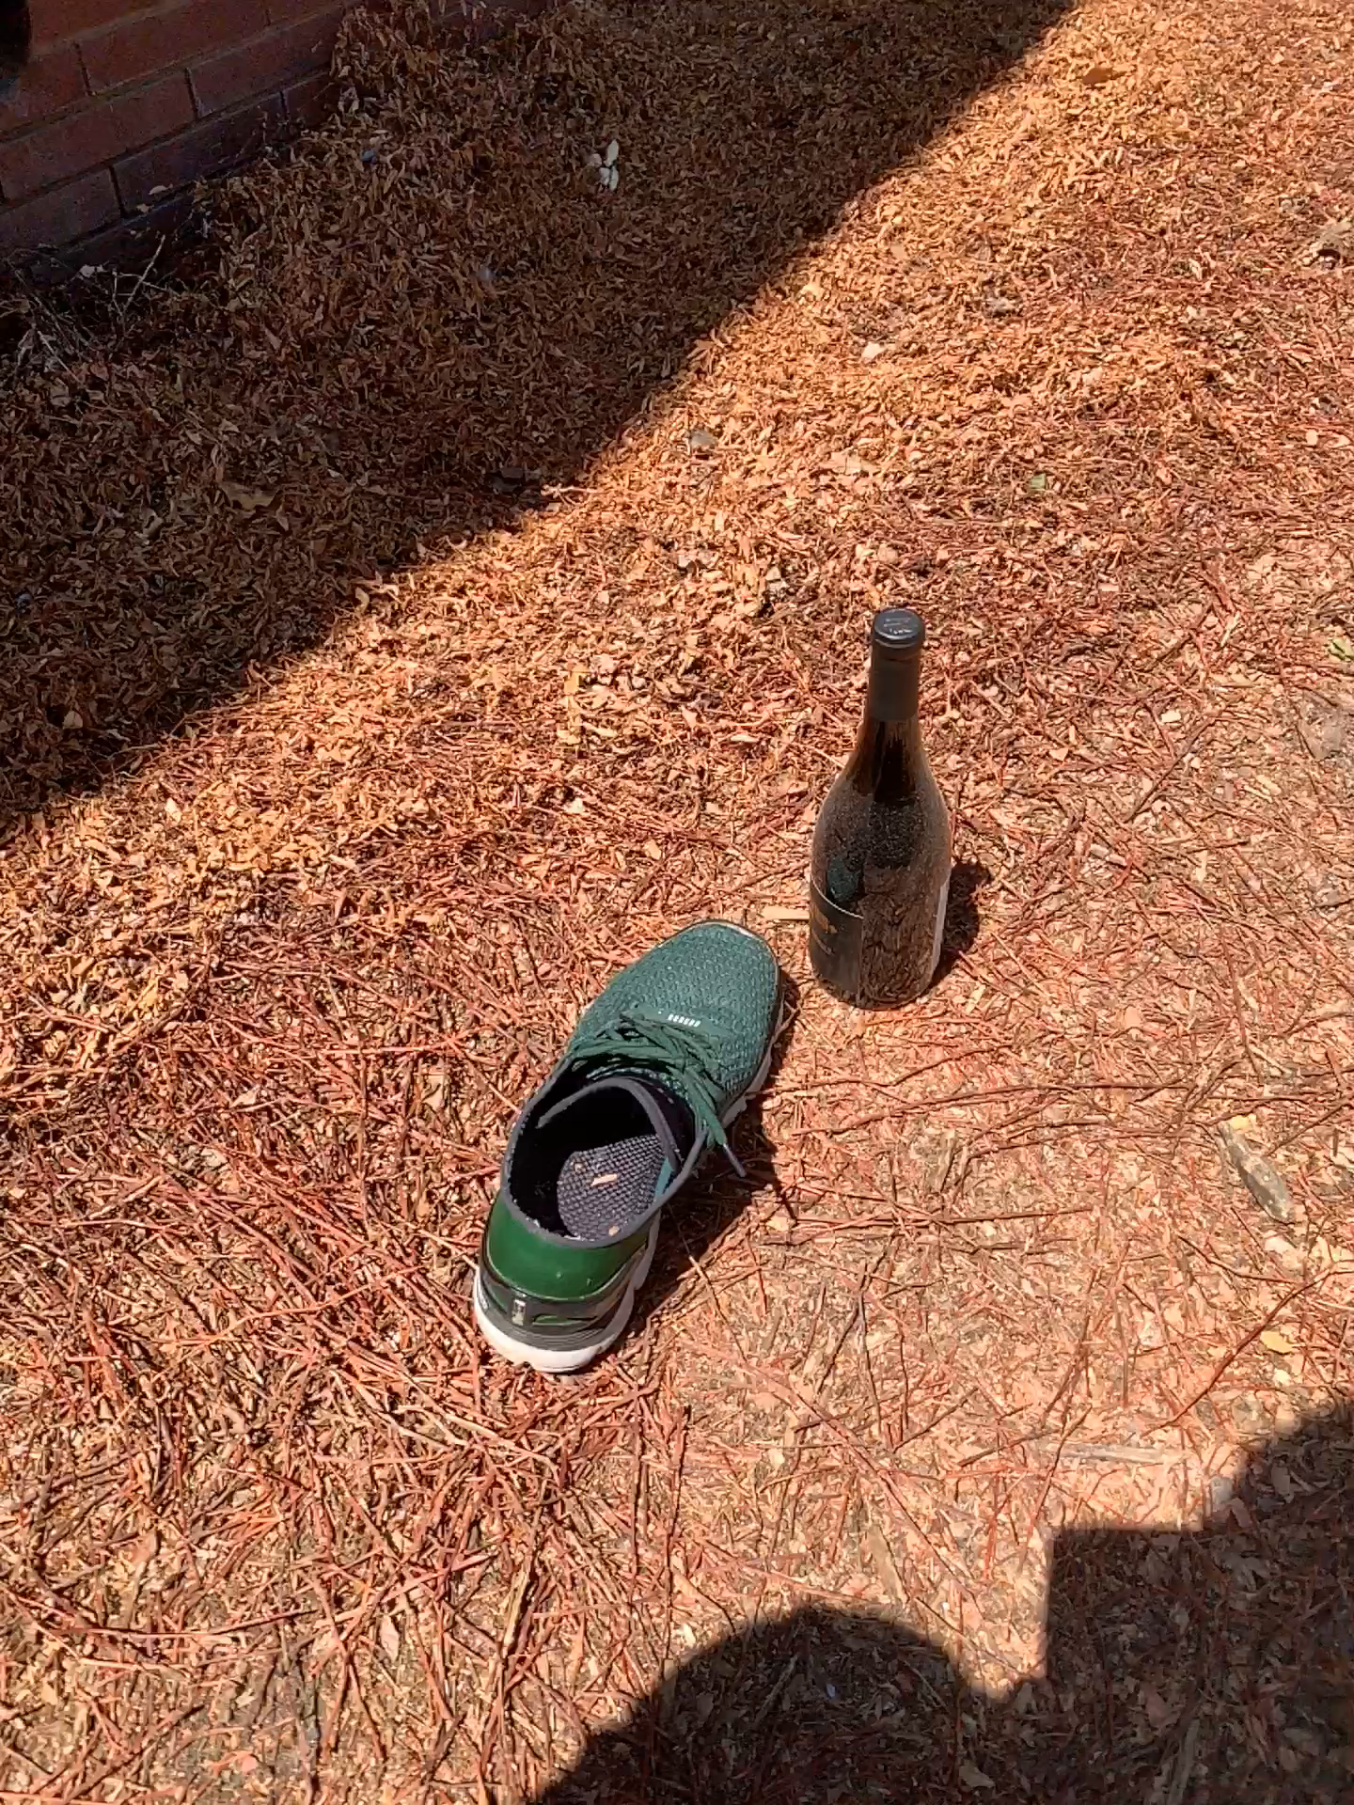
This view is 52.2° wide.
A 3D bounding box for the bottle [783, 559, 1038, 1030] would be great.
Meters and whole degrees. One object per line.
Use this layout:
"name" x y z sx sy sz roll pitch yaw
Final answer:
"bottle" 0.126 -0.054 0.814 0.090 0.269 0.101 -8 47 -8
